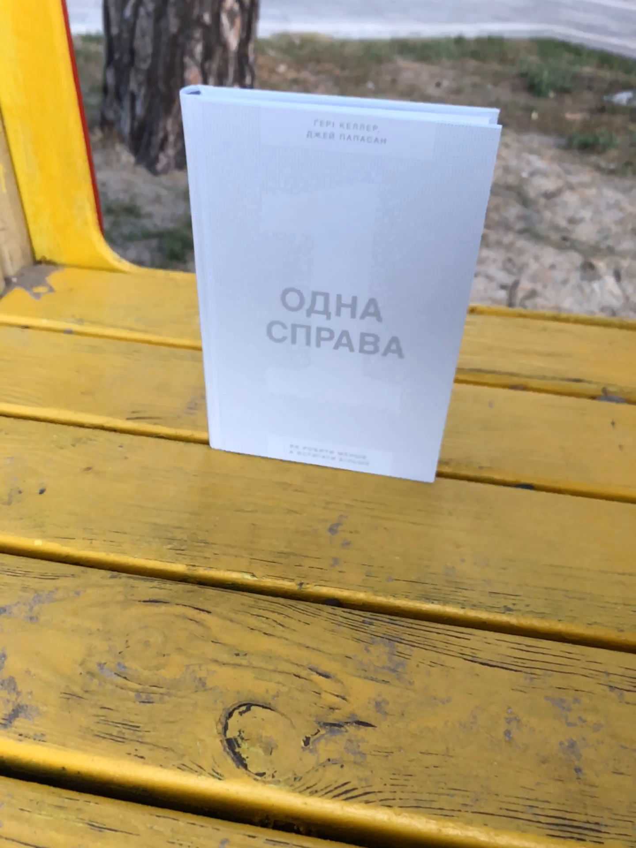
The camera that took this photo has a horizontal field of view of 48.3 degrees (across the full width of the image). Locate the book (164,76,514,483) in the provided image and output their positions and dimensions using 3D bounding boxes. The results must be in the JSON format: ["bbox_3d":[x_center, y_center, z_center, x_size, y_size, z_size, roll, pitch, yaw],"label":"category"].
[{"bbox_3d":[0.006,-0.066,0.384,0.154,0.208,0.030,9,40,8],"label":"book"}]
